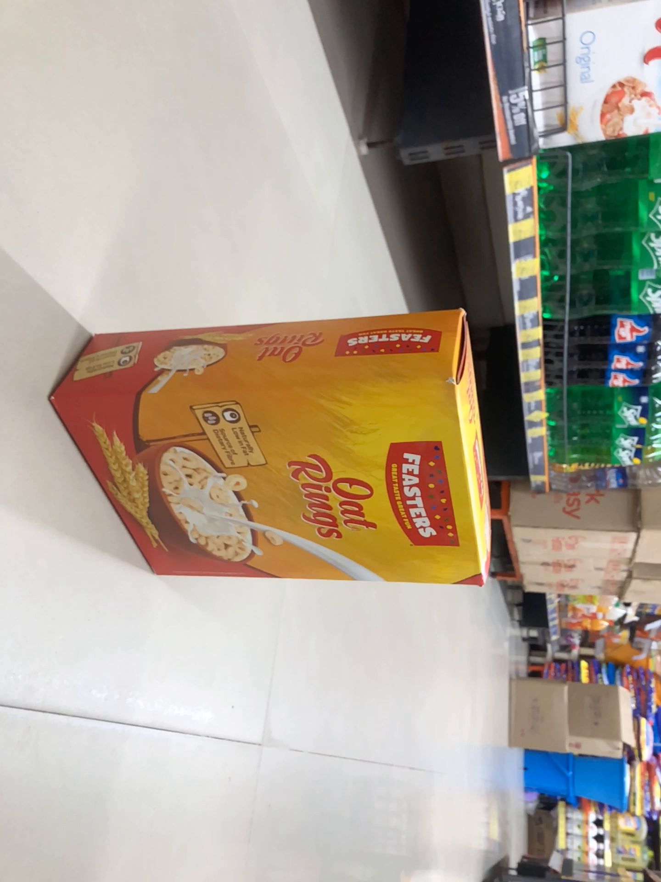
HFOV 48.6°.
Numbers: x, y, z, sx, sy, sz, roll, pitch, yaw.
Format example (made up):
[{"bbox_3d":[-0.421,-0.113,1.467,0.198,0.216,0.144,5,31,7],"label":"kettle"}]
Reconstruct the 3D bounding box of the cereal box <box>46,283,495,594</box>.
[{"bbox_3d":[-0.020,0.009,0.438,0.070,0.219,0.170,-75,157,-47],"label":"cereal box"}]
